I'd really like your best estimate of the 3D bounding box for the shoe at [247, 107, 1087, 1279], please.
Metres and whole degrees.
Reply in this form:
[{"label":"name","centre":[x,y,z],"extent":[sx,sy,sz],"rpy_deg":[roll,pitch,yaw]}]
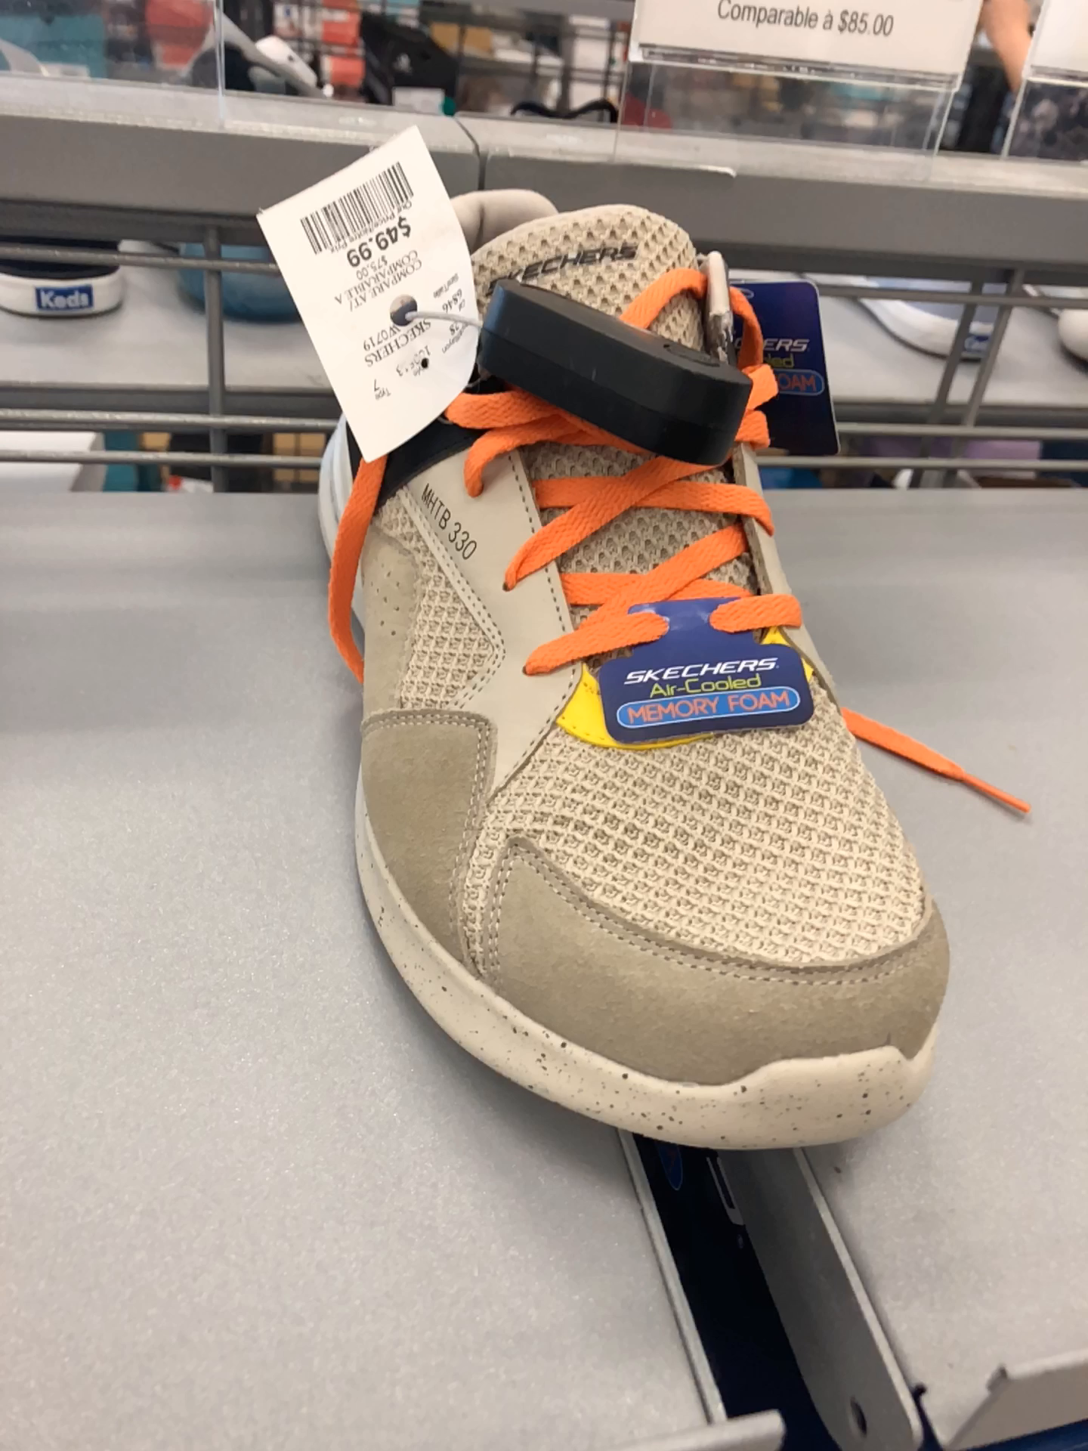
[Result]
[{"label":"shoe","centre":[0.010,-0.045,0.288],"extent":[0.125,0.109,0.282],"rpy_deg":[-5,41,-18]}]
